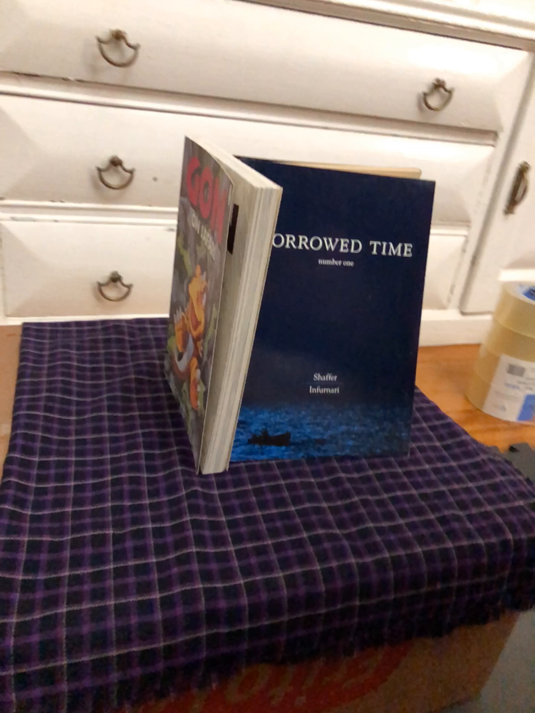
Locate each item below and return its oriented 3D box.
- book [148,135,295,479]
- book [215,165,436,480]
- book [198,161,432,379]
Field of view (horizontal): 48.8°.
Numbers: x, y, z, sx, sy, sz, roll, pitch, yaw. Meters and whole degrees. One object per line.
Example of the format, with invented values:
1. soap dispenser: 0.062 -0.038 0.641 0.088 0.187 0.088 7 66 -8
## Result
1. book: -0.042 -0.038 0.400 0.020 0.189 0.141 2 27 -26
2. book: 0.041 -0.020 0.402 0.150 0.200 0.010 -1 8 -19
3. book: 0.028 -0.057 0.464 0.140 0.199 0.010 -4 48 -21
